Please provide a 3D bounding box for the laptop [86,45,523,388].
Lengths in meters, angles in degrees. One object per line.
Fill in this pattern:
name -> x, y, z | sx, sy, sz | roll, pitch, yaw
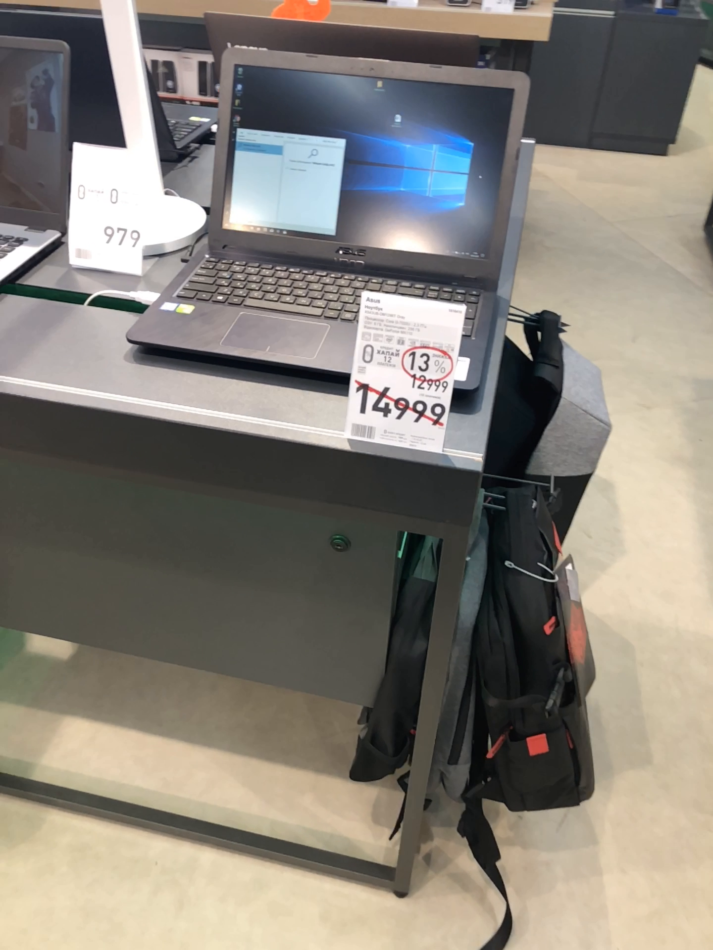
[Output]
laptop -> -0.029, -0.317, 0.892 | 0.380, 0.209, 0.372 | 9, 41, 9
